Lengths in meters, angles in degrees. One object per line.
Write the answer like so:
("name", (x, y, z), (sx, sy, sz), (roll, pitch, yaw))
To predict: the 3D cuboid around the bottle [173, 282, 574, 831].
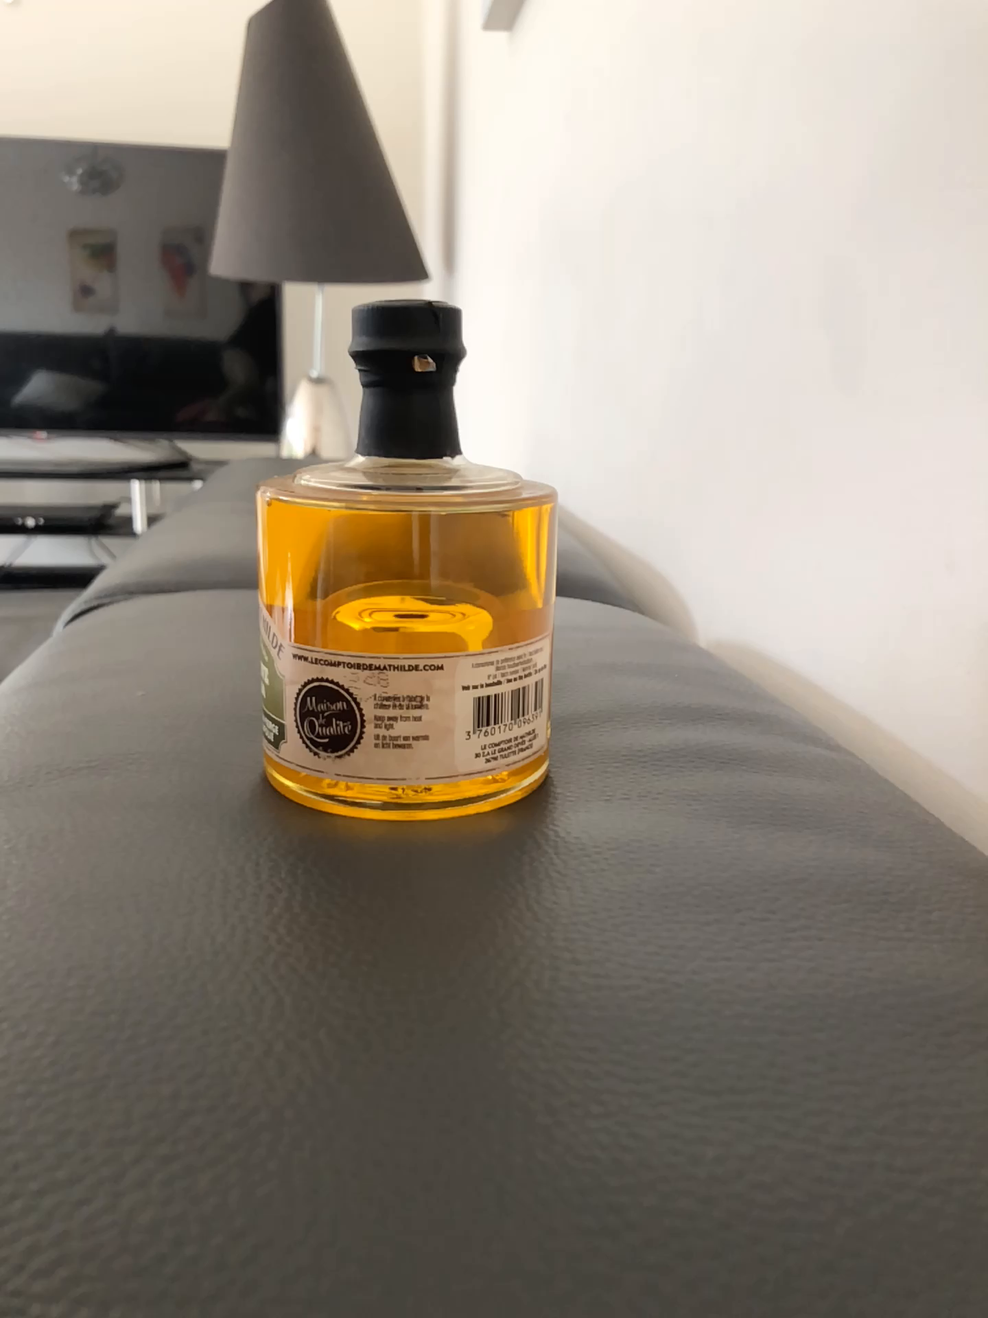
("bottle", (-0.026, -0.033, 0.307), (0.090, 0.130, 0.090), (1, 15, 0))
